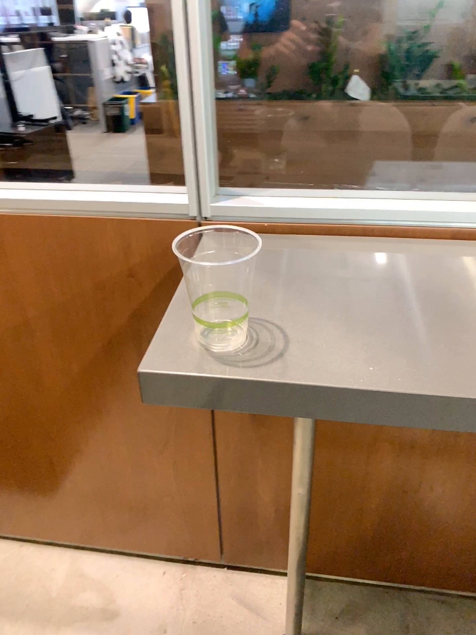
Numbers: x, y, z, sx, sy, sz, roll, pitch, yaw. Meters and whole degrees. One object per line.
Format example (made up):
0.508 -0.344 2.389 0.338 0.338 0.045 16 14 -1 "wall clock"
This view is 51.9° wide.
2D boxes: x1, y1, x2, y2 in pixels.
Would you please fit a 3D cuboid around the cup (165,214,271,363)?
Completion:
-0.017 -0.034 0.540 0.090 0.129 0.090 -1 32 1 "cup"
